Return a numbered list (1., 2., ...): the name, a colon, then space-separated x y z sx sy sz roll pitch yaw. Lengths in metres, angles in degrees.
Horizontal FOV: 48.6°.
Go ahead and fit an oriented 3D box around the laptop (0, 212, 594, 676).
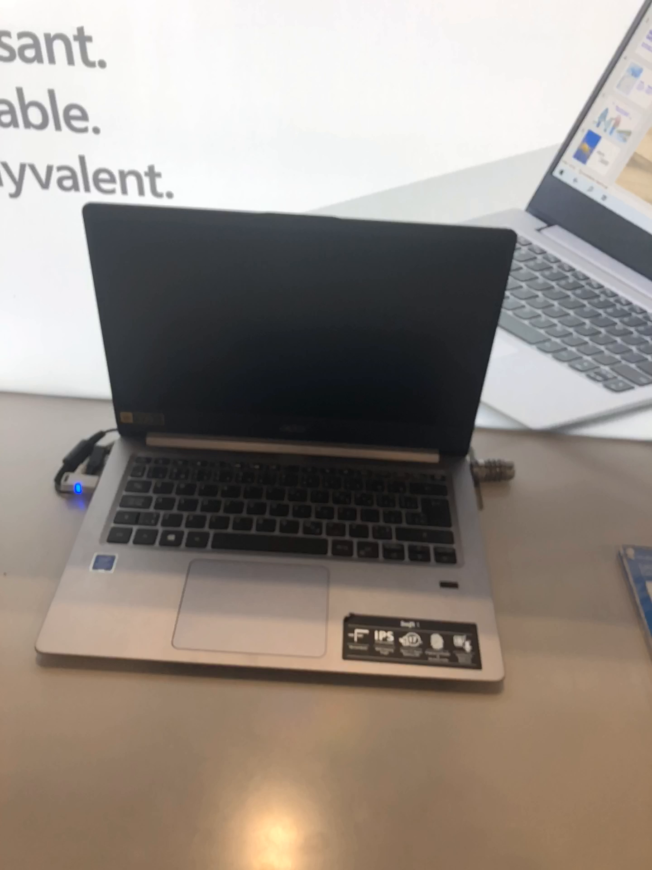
1. laptop: -0.027 -0.001 0.505 0.311 0.210 0.227 4 39 0
